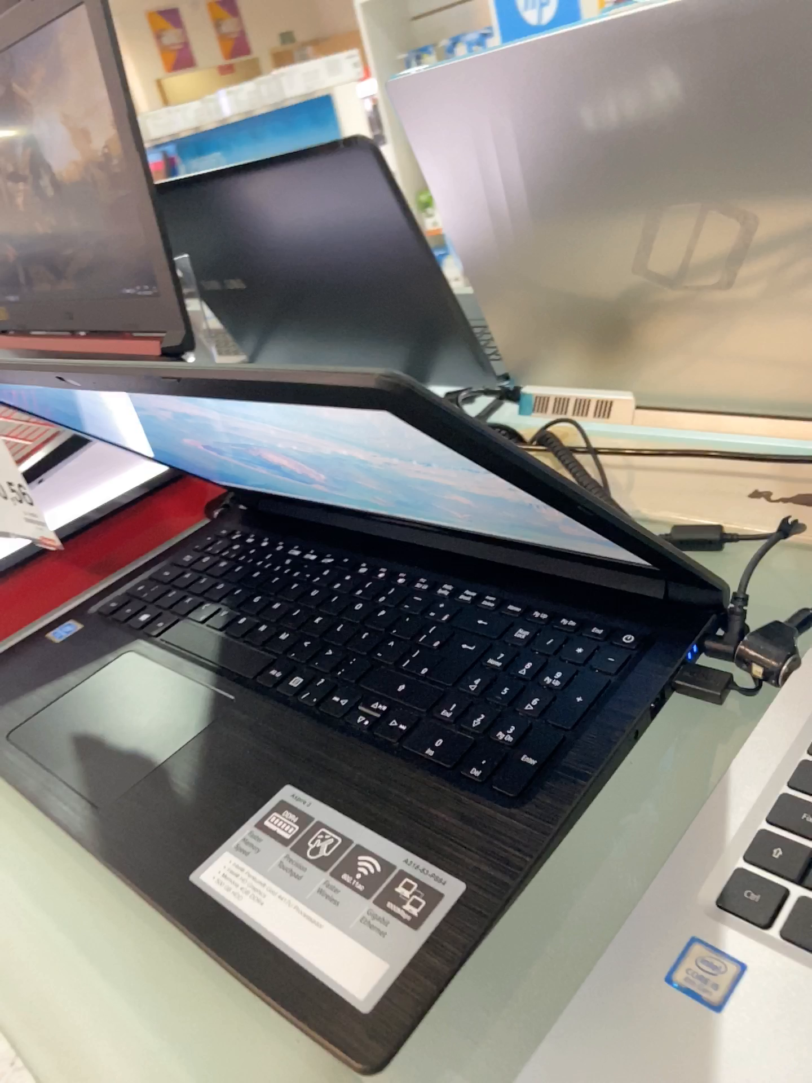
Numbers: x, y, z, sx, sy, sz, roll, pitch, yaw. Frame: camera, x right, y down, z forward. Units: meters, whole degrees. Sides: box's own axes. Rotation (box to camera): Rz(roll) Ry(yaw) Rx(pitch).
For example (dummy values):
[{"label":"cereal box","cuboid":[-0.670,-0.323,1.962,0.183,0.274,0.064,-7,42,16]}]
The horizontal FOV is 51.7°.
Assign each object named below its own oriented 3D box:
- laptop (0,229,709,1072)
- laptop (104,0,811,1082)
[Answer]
[{"label":"laptop","cuboid":[-0.096,-0.006,0.400,0.376,0.169,0.230,12,40,42]},{"label":"laptop","cuboid":[0.219,0.016,0.127,0.363,0.227,0.314,13,39,44]}]
